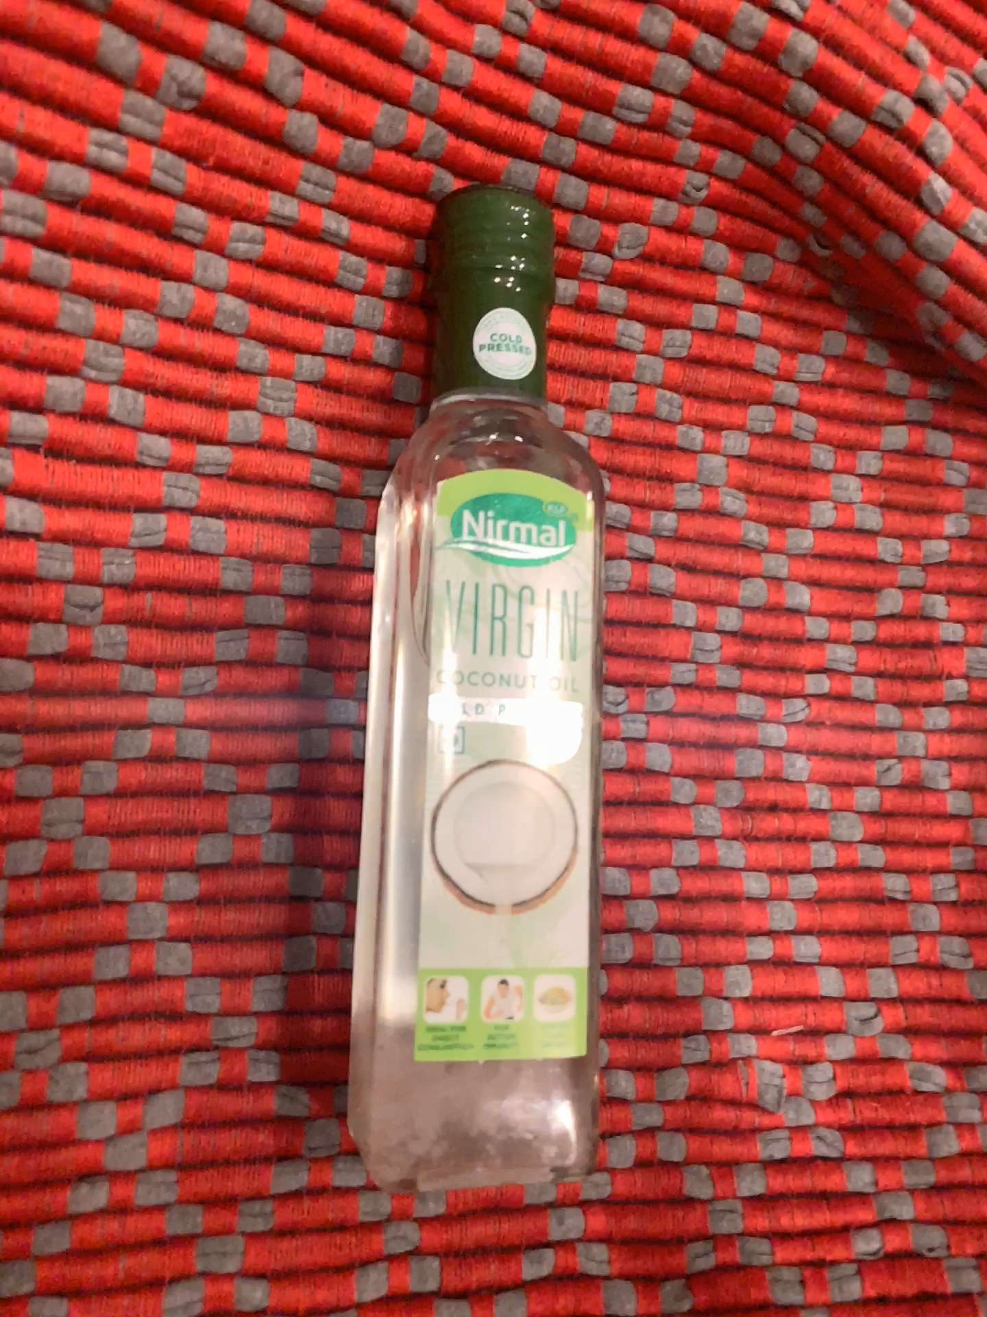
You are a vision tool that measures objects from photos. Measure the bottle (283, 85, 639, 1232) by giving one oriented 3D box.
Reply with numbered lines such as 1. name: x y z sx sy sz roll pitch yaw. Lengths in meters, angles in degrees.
1. bottle: -0.009 -0.004 0.228 0.060 0.060 0.220 4 79 -15
